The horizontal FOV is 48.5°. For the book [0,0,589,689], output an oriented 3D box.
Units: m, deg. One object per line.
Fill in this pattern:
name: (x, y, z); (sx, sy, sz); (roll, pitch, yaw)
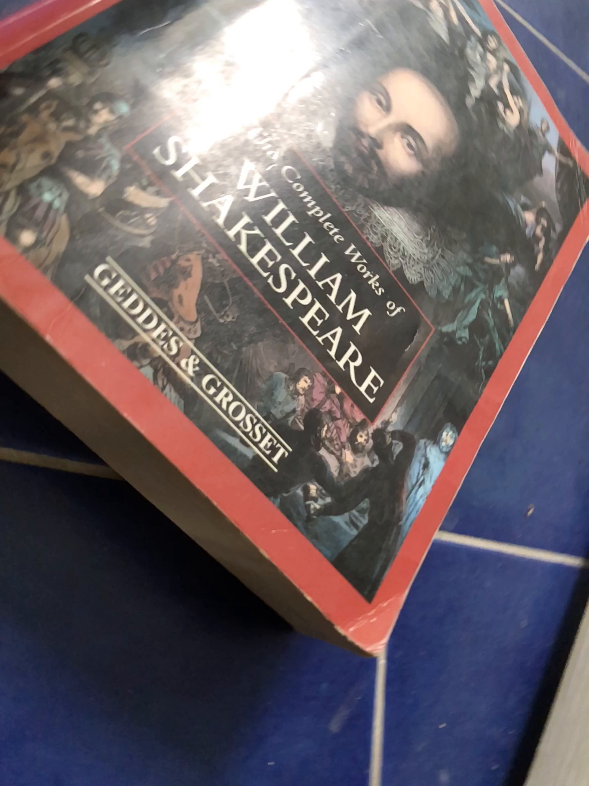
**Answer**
book: (0.018, -0.076, 0.252); (0.211, 0.059, 0.271); (48, 56, -17)
